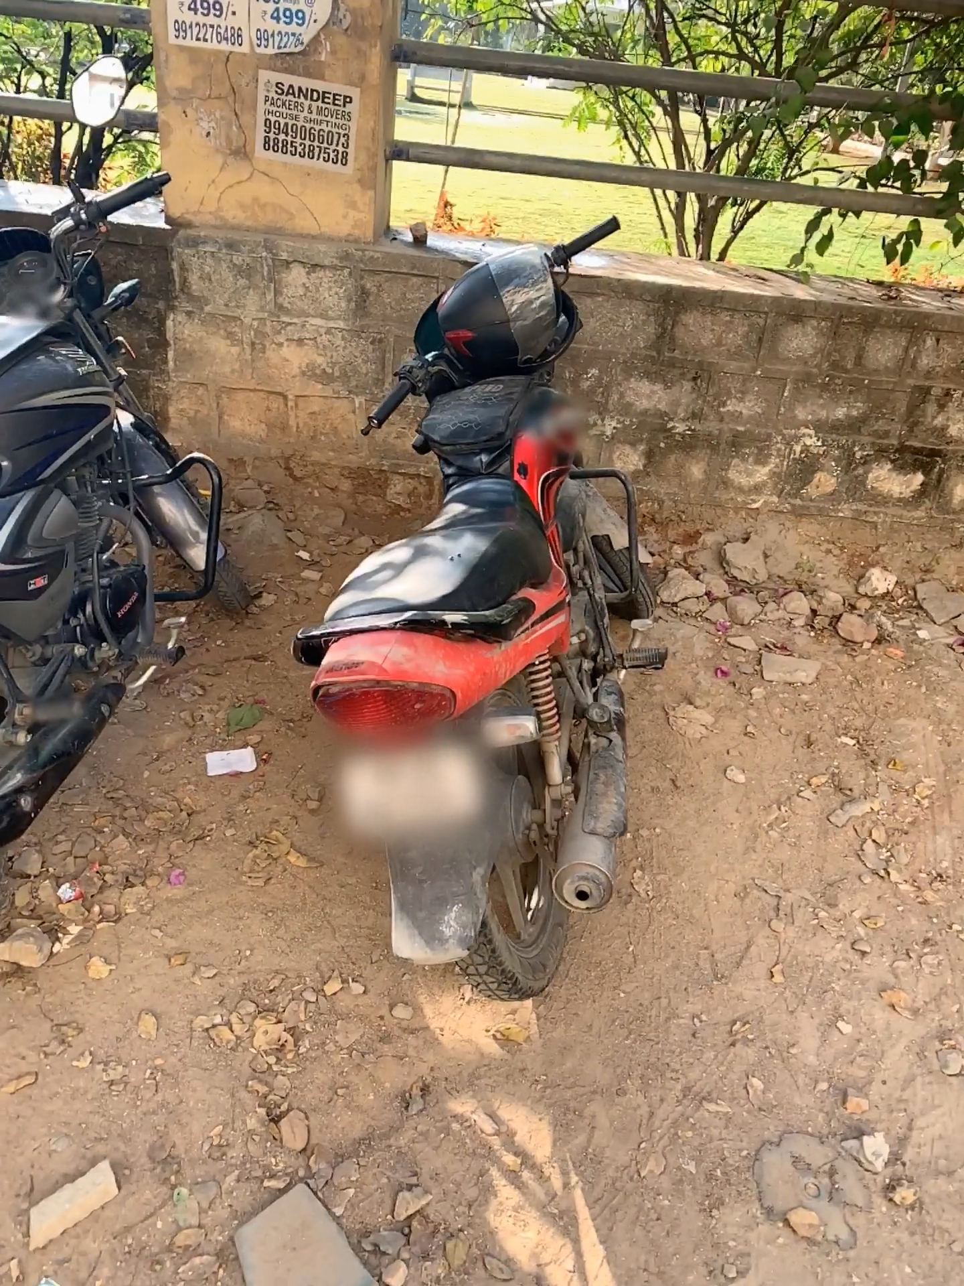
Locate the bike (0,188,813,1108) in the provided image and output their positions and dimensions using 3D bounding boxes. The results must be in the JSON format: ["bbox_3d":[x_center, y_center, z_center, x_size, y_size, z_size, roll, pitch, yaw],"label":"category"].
[{"bbox_3d":[-0.111,-0.186,2.091,1.064,1.245,1.603,9,29,4],"label":"bike"}]
